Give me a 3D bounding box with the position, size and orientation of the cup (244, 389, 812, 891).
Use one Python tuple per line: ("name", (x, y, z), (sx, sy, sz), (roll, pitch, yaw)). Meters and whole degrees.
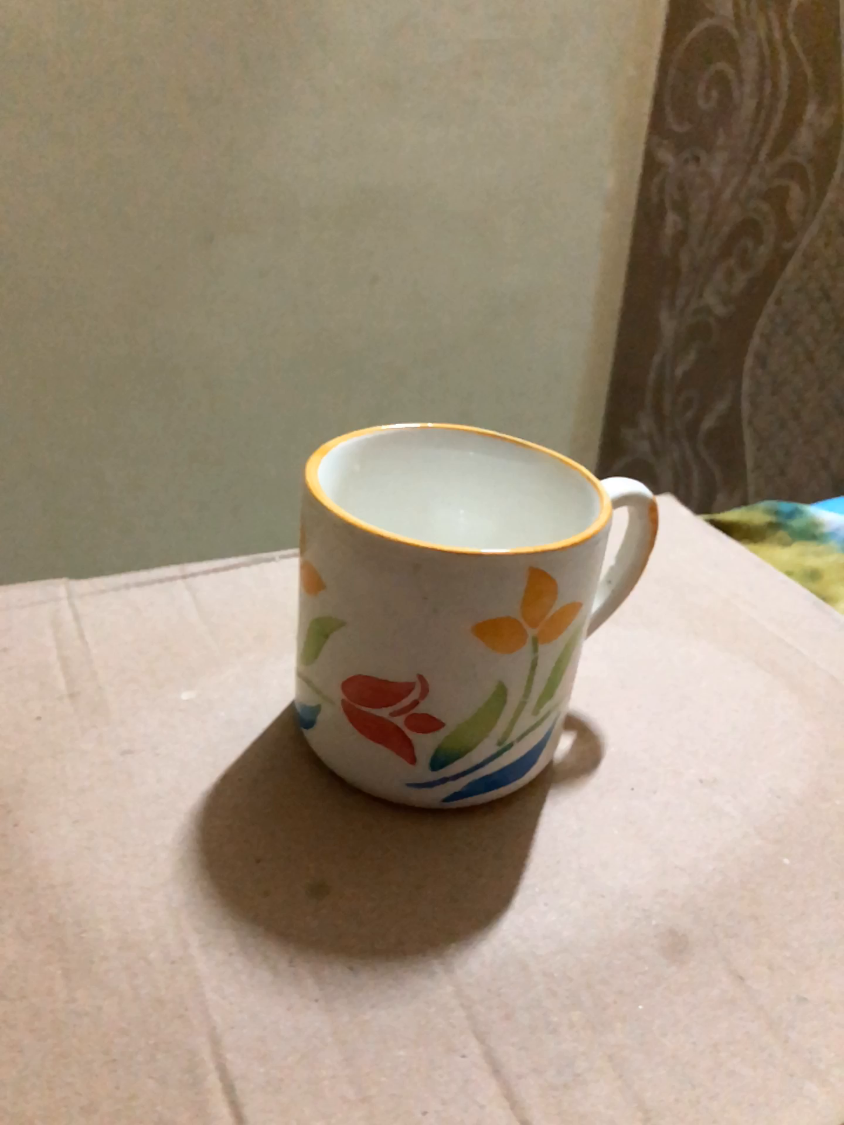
("cup", (0.026, 0.010, 0.266), (0.120, 0.079, 0.090), (-15, 33, -32))
